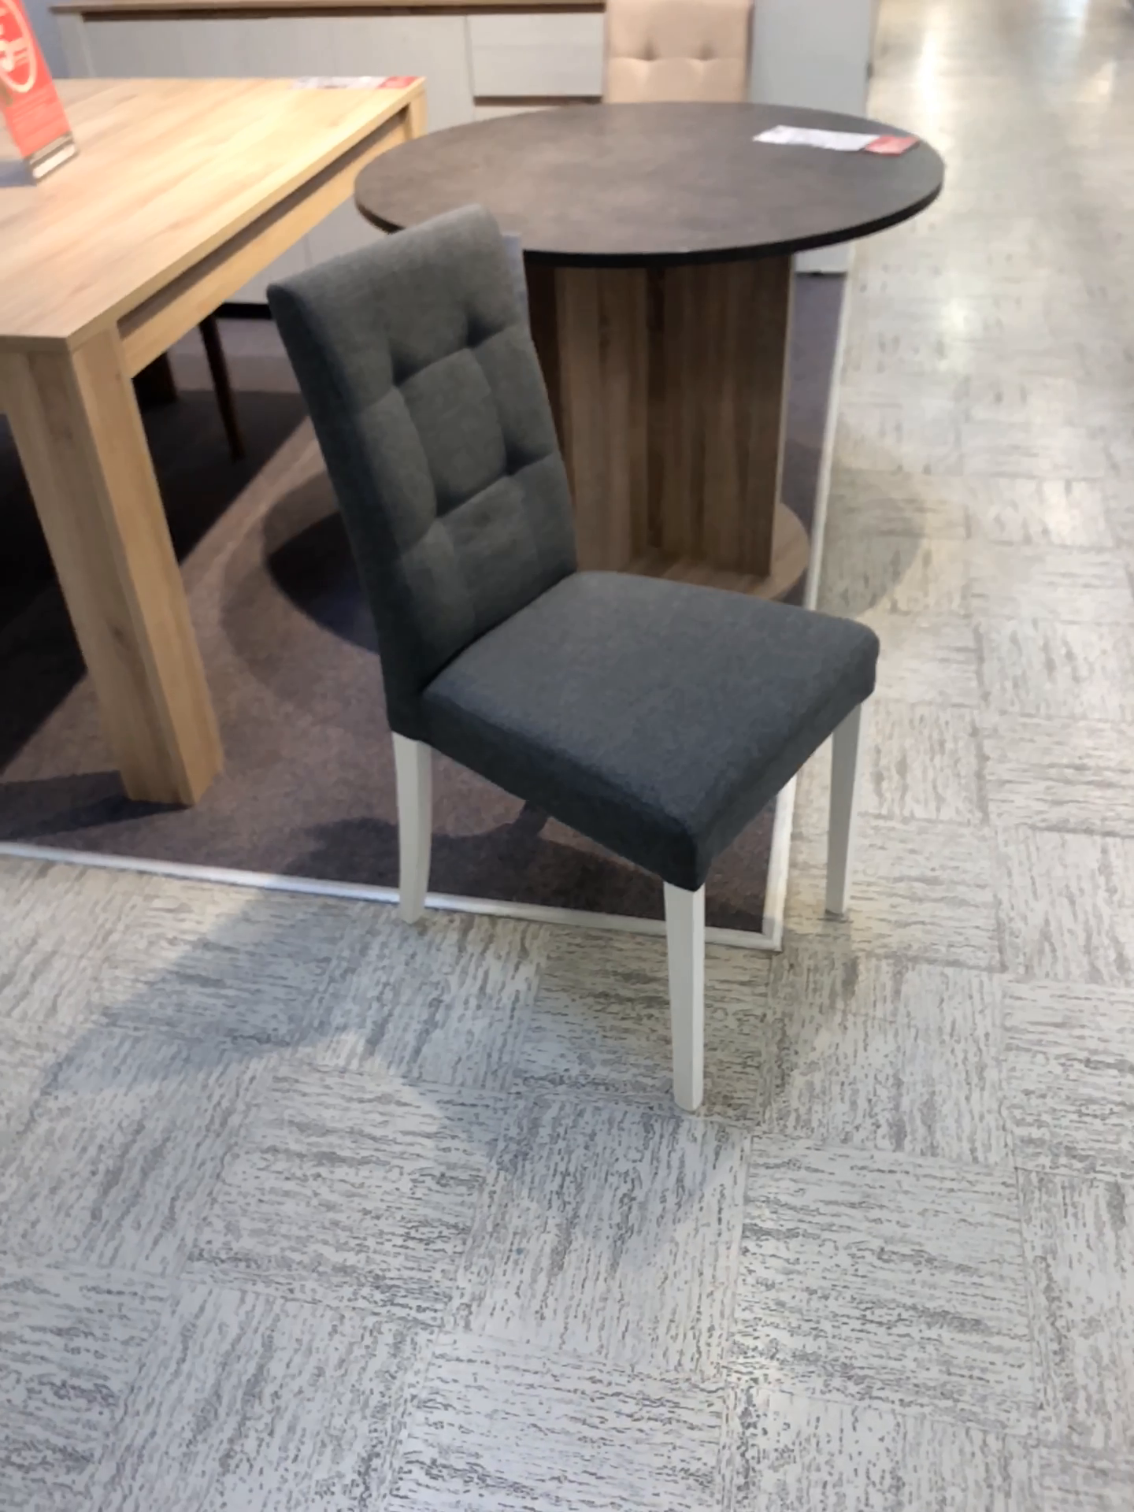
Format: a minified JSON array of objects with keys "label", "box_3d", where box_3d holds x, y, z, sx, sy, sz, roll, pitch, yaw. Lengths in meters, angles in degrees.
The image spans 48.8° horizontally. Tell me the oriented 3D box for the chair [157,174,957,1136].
[{"label":"chair","box_3d":[0.009,-0.128,1.404,0.580,0.825,0.463,23,45,30]}]
